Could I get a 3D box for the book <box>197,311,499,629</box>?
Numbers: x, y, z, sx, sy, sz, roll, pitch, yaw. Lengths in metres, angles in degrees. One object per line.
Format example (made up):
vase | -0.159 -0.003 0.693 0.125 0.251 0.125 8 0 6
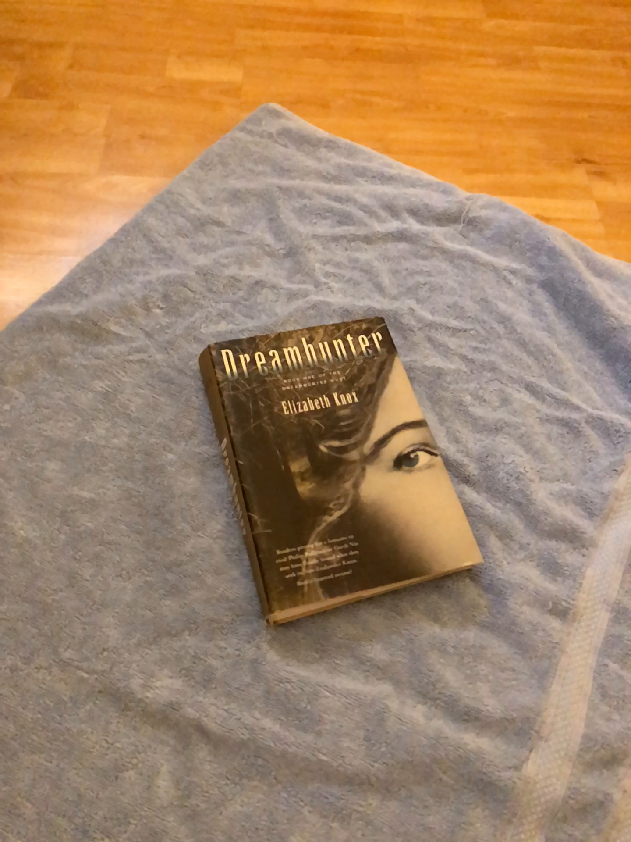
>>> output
book | 0.014 0.022 0.523 0.163 0.030 0.225 -11 58 -12
